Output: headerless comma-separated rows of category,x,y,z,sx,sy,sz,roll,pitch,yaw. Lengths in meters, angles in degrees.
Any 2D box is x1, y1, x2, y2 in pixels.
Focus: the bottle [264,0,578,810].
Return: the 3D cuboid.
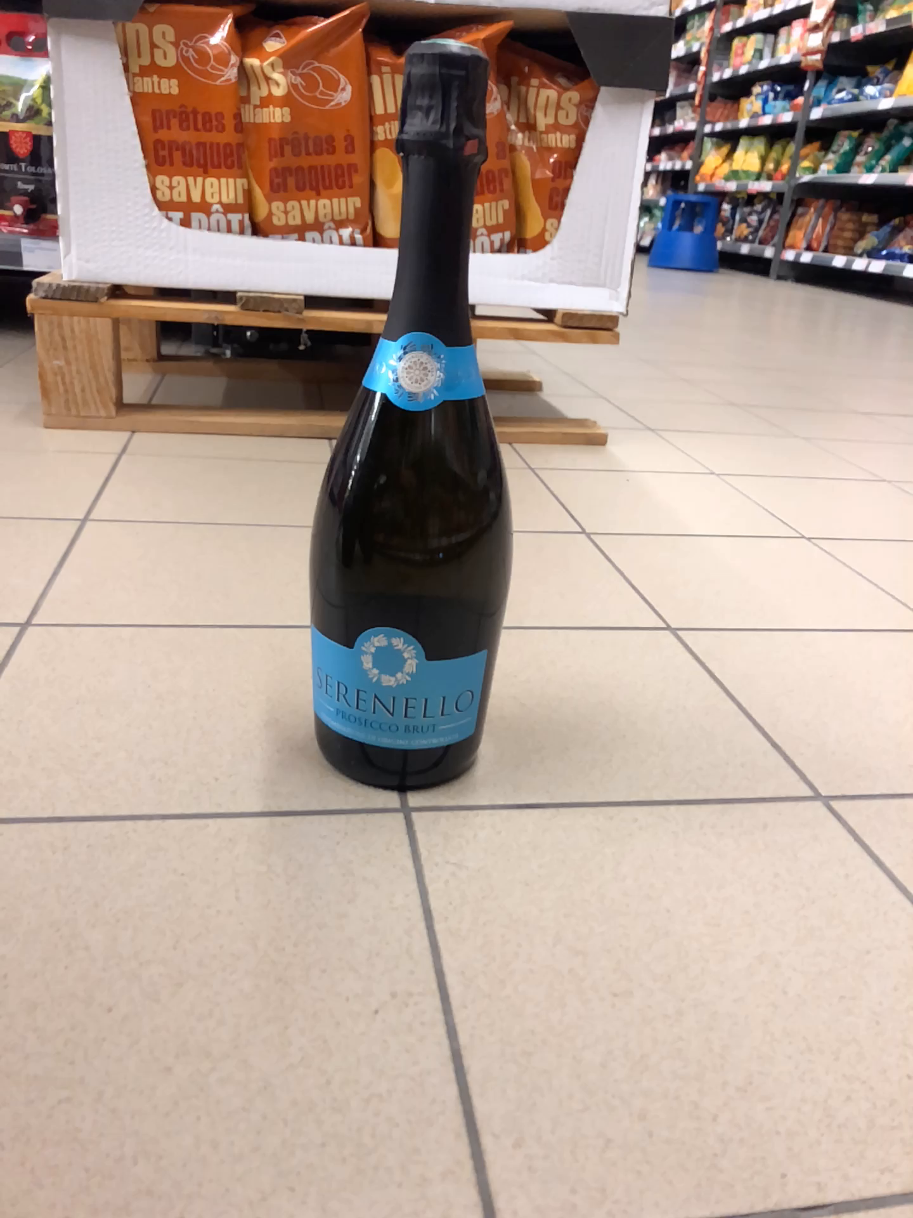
bottle,-0.018,-0.075,0.422,0.100,0.298,0.090,7,22,6
